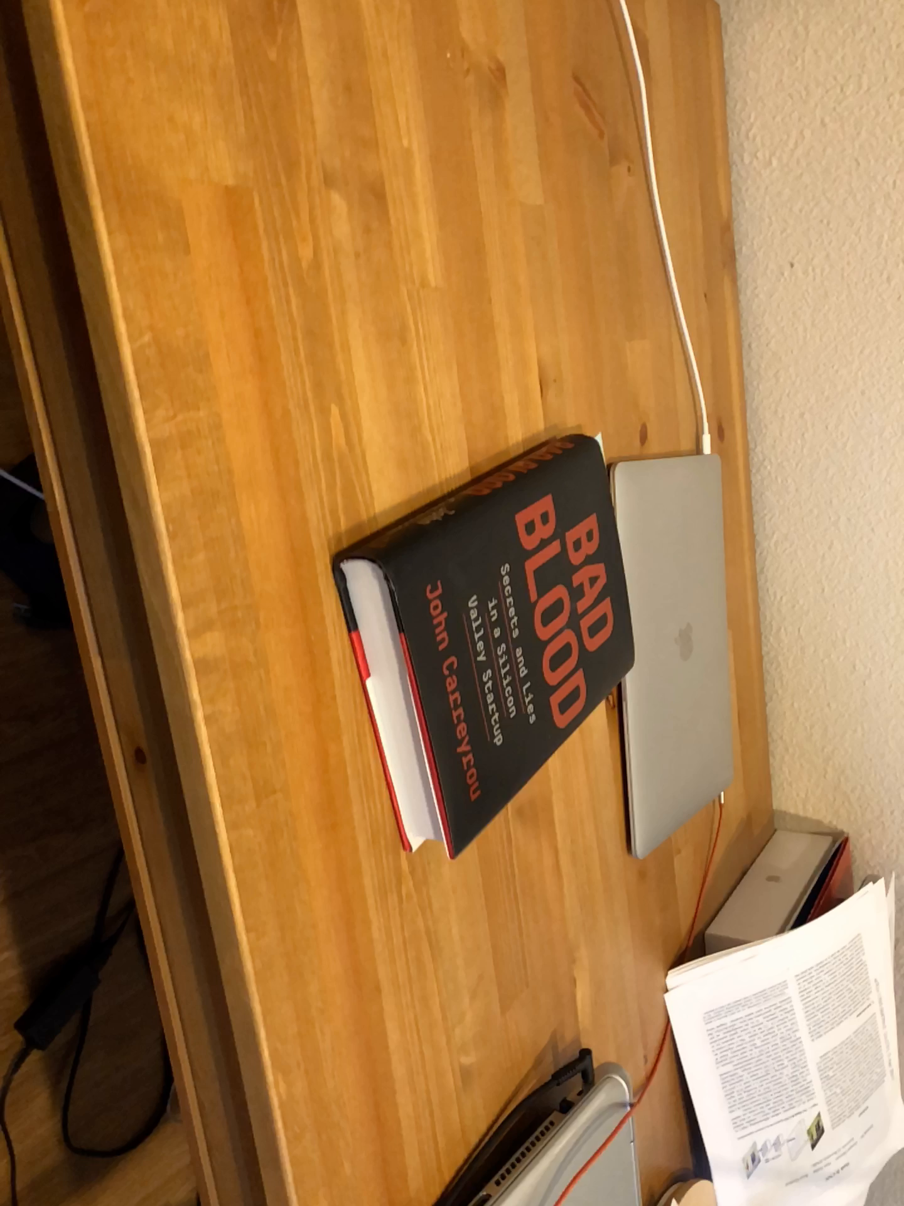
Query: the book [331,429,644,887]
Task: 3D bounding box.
[{"bbox_3d":[0.039,0.016,0.590,0.251,0.030,0.179,-35,119,-50],"label":"book"}]
